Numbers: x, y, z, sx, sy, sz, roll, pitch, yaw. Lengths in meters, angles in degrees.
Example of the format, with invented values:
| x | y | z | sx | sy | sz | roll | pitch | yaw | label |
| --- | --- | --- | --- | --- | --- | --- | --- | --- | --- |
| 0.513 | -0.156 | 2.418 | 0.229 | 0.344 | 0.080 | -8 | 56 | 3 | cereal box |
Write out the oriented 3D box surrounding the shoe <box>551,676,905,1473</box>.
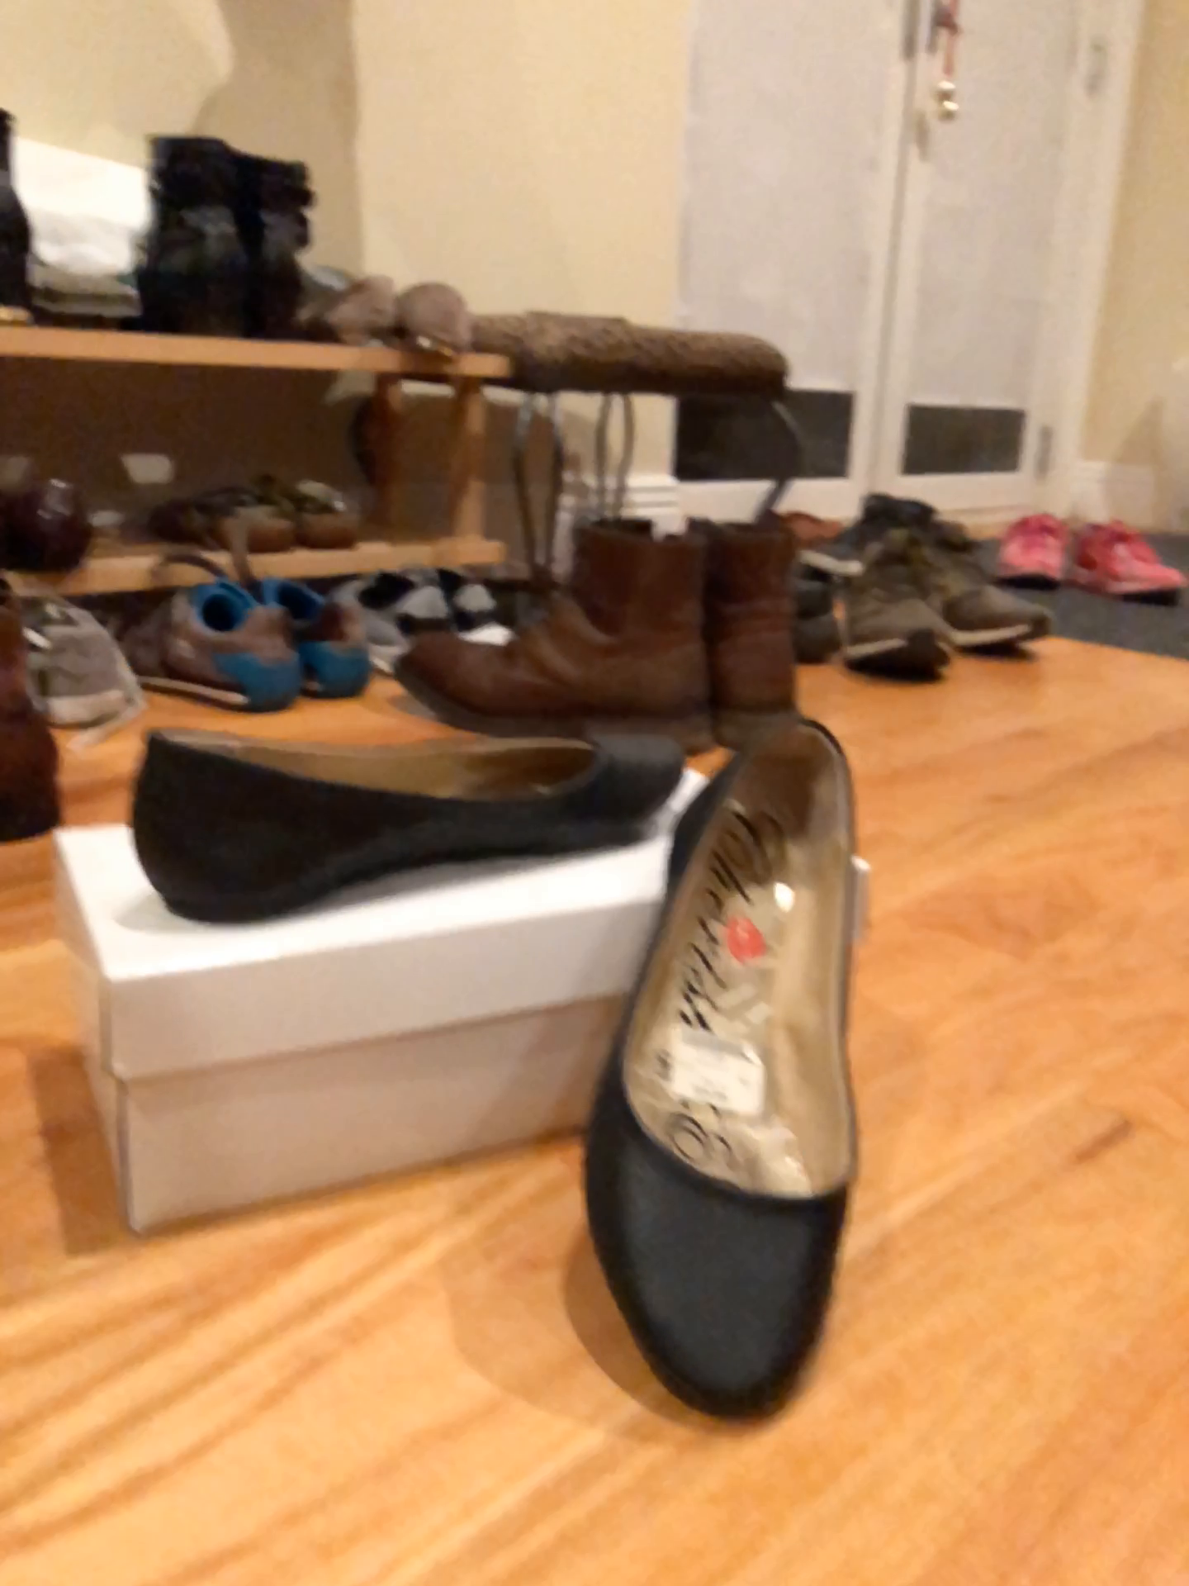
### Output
| x | y | z | sx | sy | sz | roll | pitch | yaw | label |
| --- | --- | --- | --- | --- | --- | --- | --- | --- | --- |
| 0.051 | 0.079 | 0.431 | 0.076 | 0.060 | 0.241 | 16 | 53 | -6 | shoe |

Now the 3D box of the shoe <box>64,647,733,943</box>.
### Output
| x | y | z | sx | sy | sz | roll | pitch | yaw | label |
| --- | --- | --- | --- | --- | --- | --- | --- | --- | --- |
| -0.064 | -0.009 | 0.498 | 0.240 | 0.060 | 0.076 | -10 | 21 | -36 | shoe |
